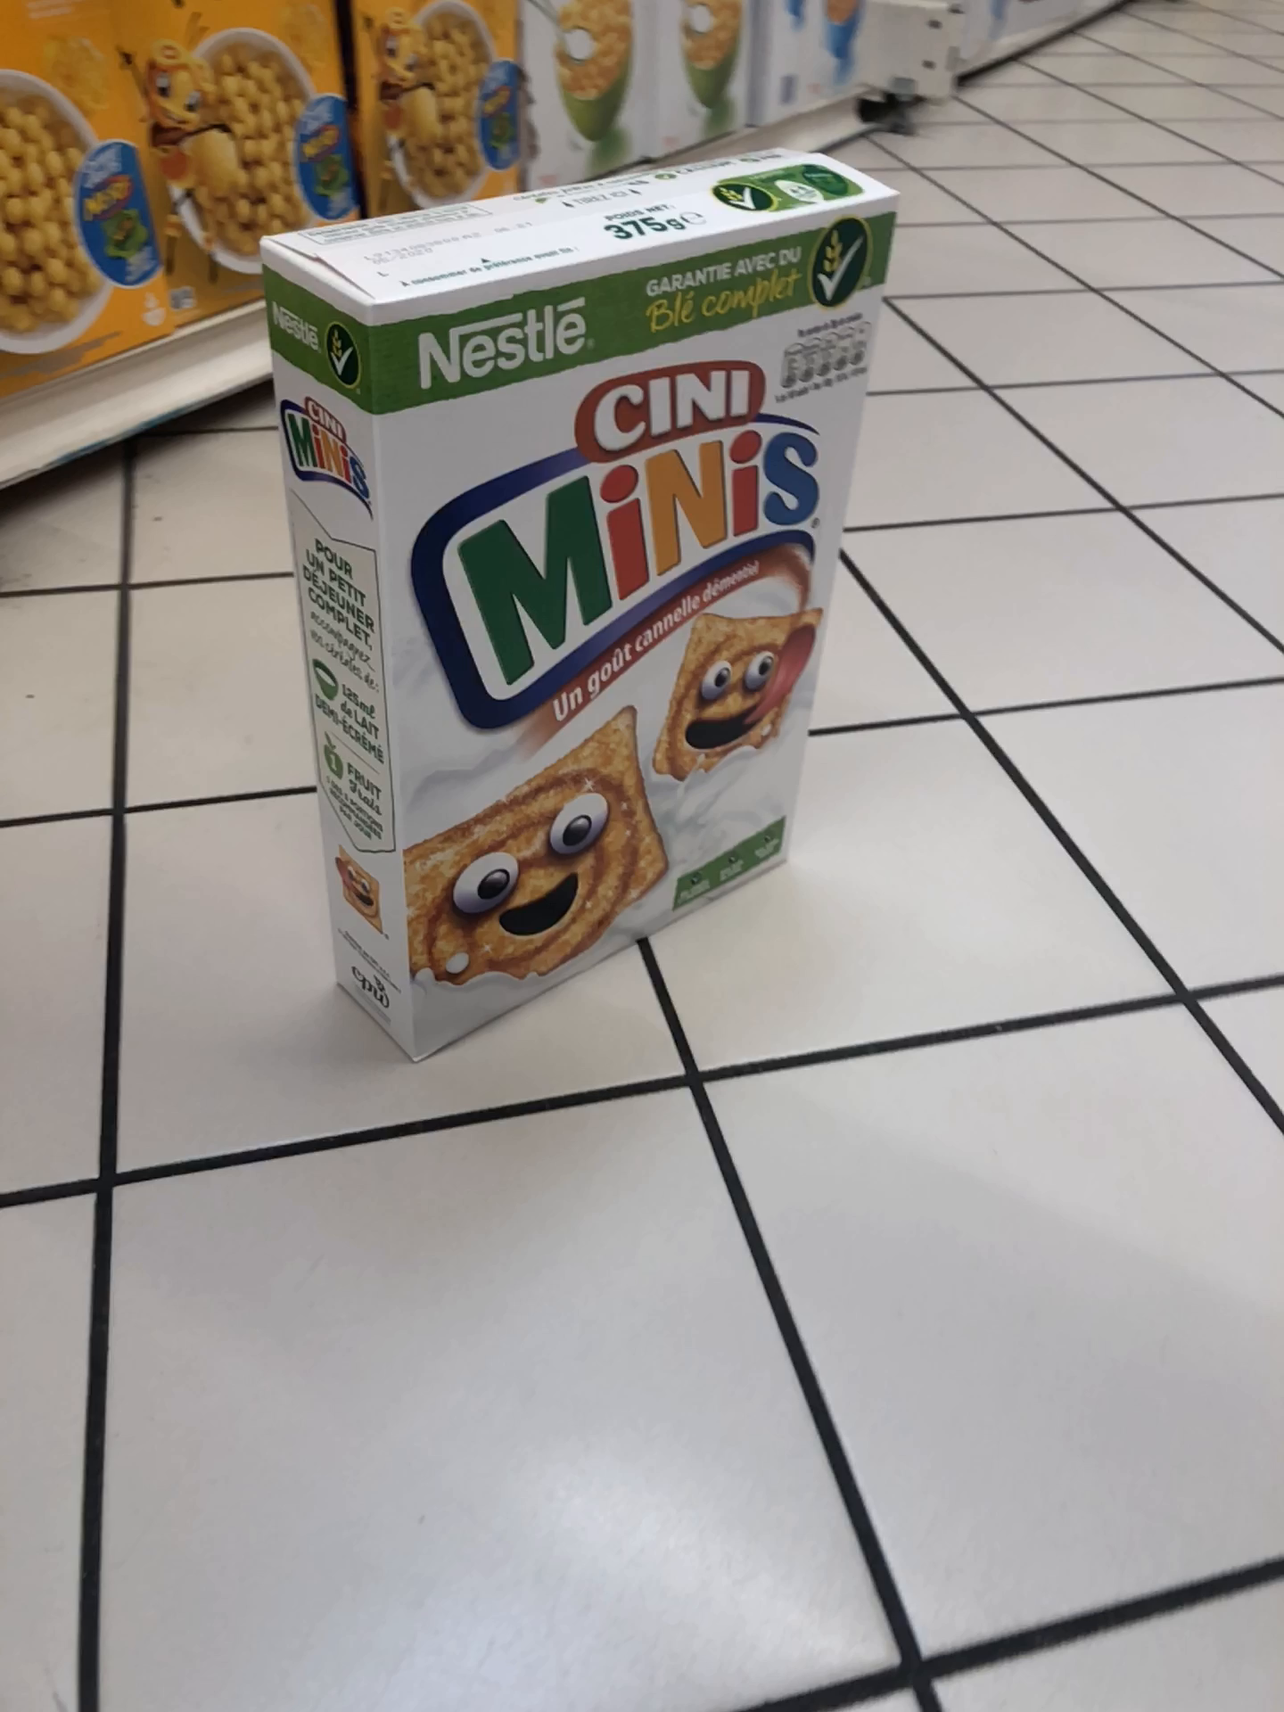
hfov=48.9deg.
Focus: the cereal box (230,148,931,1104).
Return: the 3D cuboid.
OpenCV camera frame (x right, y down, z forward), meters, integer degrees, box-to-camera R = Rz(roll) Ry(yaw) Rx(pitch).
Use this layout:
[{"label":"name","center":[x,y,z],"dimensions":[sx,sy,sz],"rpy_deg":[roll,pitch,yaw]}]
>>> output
[{"label":"cereal box","center":[-0.015,-0.075,0.482],"dimensions":[0.201,0.268,0.070],"rpy_deg":[-28,49,-34]}]
